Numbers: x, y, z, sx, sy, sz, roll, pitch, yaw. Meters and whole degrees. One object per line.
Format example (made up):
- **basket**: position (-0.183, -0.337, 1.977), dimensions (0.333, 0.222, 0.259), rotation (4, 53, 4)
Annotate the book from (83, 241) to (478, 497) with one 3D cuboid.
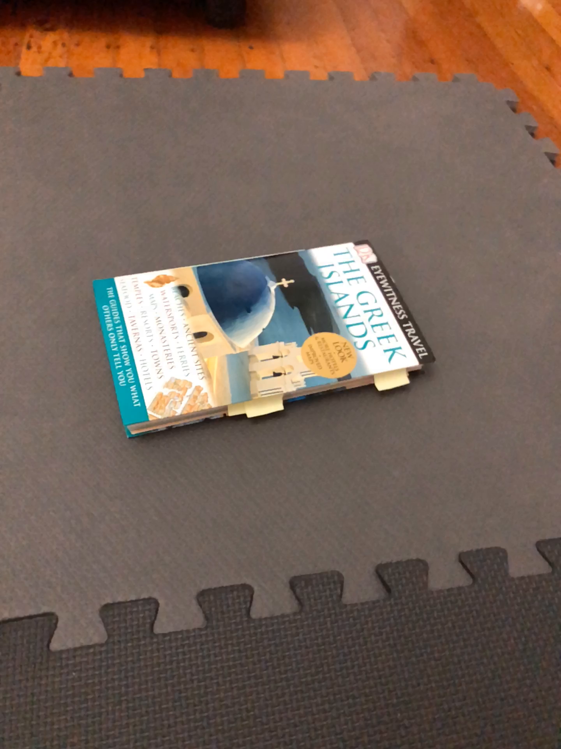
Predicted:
- **book**: position (-0.006, -0.017, 0.443), dimensions (0.240, 0.030, 0.161), rotation (-10, 54, -15)
